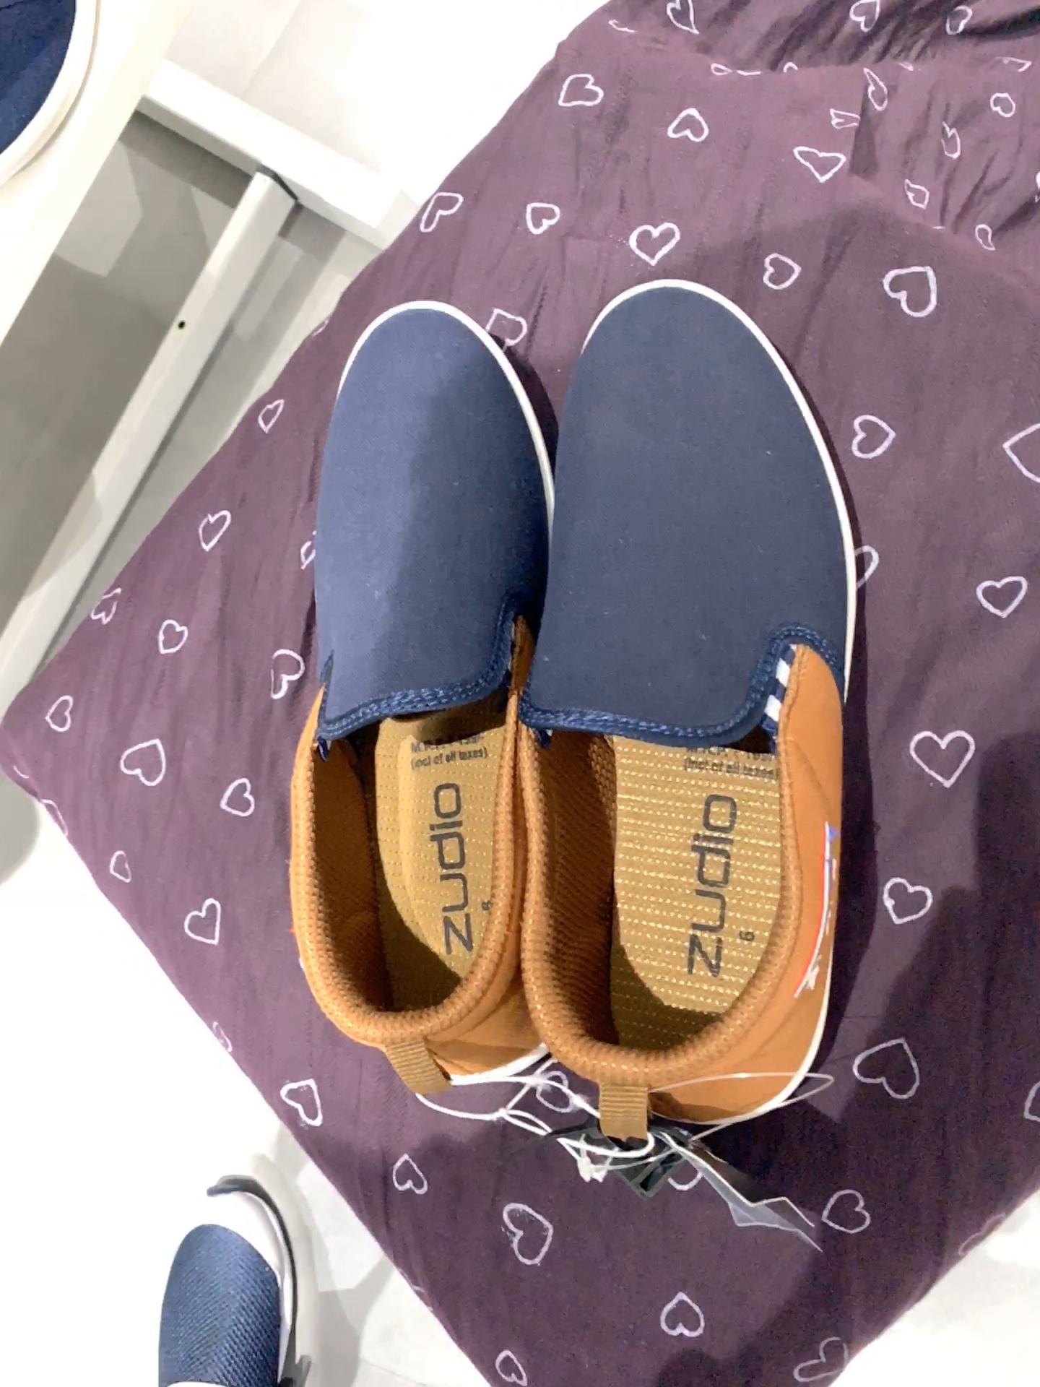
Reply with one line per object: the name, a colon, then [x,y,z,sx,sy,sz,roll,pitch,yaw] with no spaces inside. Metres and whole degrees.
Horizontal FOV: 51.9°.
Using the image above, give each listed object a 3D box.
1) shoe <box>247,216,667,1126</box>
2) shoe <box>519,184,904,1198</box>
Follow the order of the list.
shoe: [-0.023,-0.006,0.356,0.100,0.060,0.270,-9,80,17]
shoe: [0.057,-0.003,0.325,0.100,0.060,0.270,-3,82,18]
